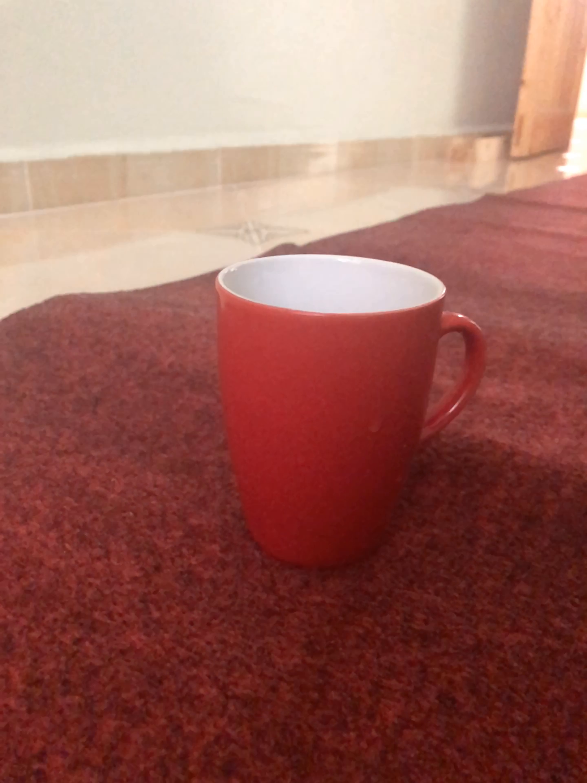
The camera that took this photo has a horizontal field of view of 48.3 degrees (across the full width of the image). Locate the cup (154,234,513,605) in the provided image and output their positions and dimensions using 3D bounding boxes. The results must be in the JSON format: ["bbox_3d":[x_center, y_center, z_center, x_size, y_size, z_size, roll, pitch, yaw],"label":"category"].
[{"bbox_3d":[0.016,-0.001,0.254,0.078,0.094,0.109,22,31,38],"label":"cup"}]
